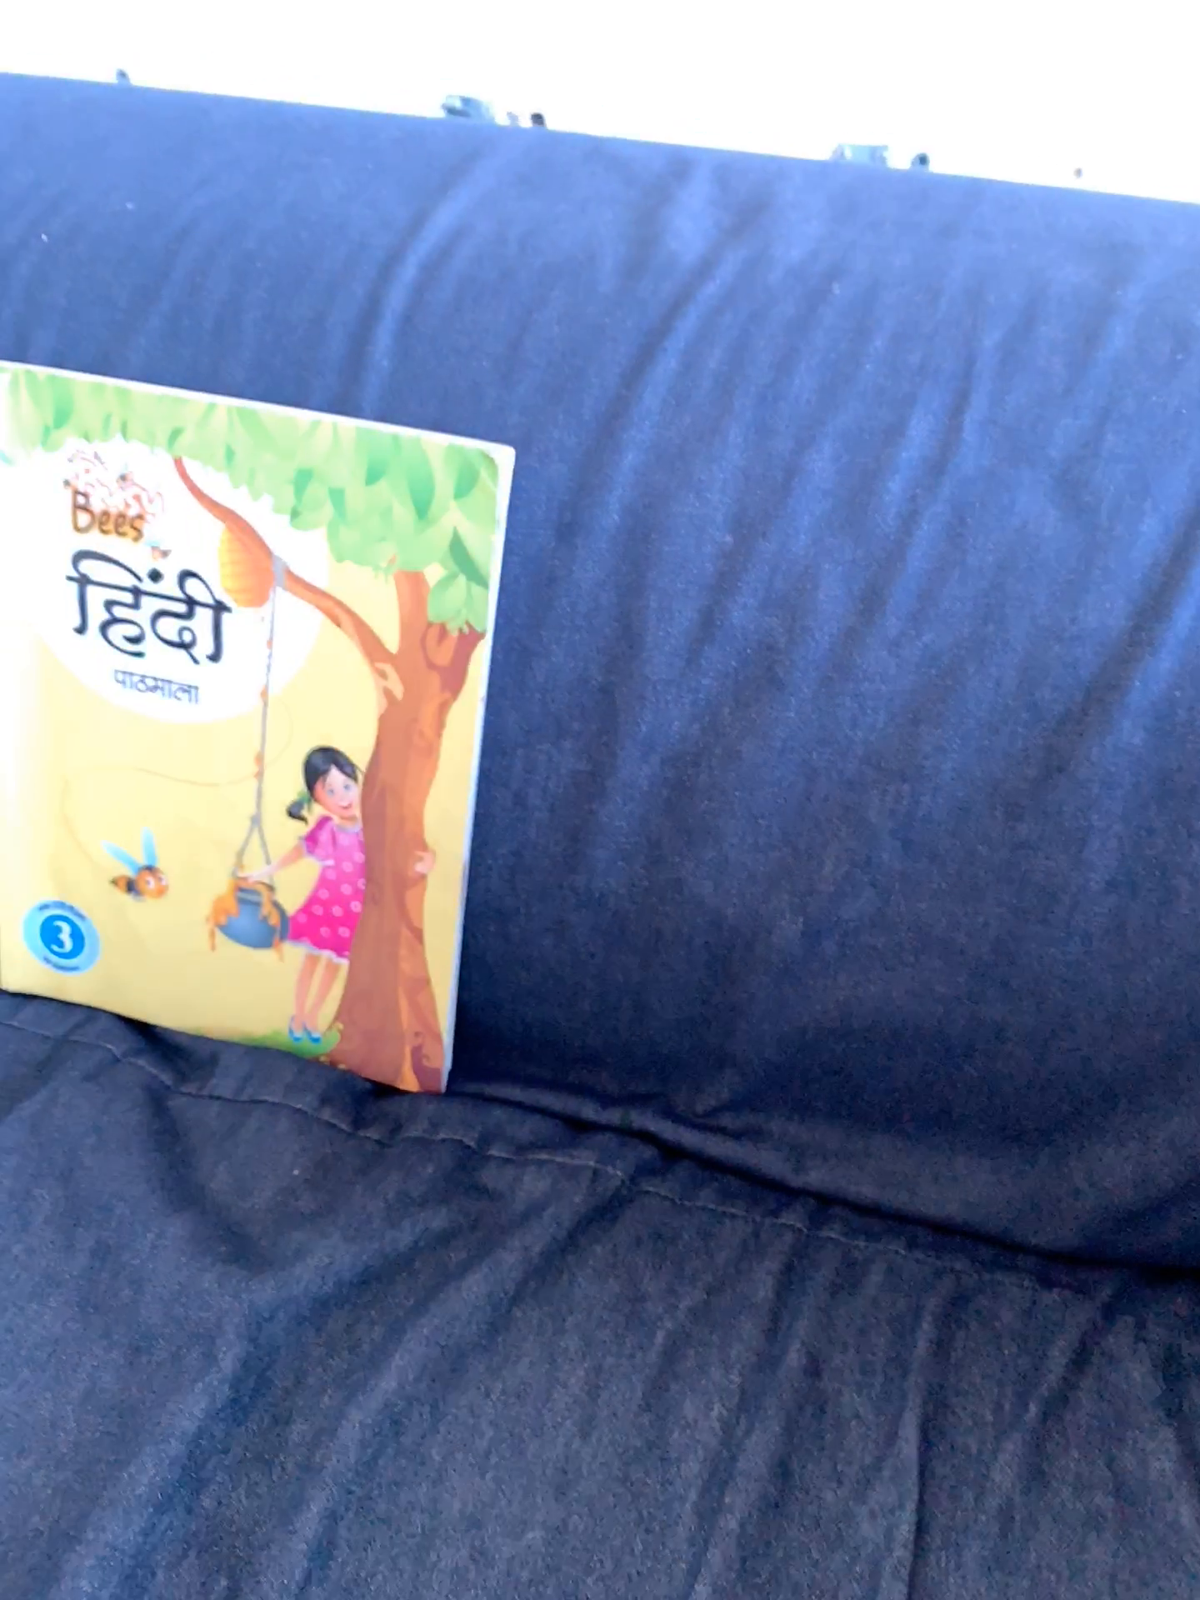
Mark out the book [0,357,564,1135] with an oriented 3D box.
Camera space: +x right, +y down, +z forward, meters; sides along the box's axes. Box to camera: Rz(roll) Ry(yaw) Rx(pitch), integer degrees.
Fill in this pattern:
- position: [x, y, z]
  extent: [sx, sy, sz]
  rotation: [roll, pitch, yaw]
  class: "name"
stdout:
- position: [-0.146, -0.018, 0.515]
  extent: [0.230, 0.284, 0.029]
  rotation: [13, 21, 11]
  class: "book"
